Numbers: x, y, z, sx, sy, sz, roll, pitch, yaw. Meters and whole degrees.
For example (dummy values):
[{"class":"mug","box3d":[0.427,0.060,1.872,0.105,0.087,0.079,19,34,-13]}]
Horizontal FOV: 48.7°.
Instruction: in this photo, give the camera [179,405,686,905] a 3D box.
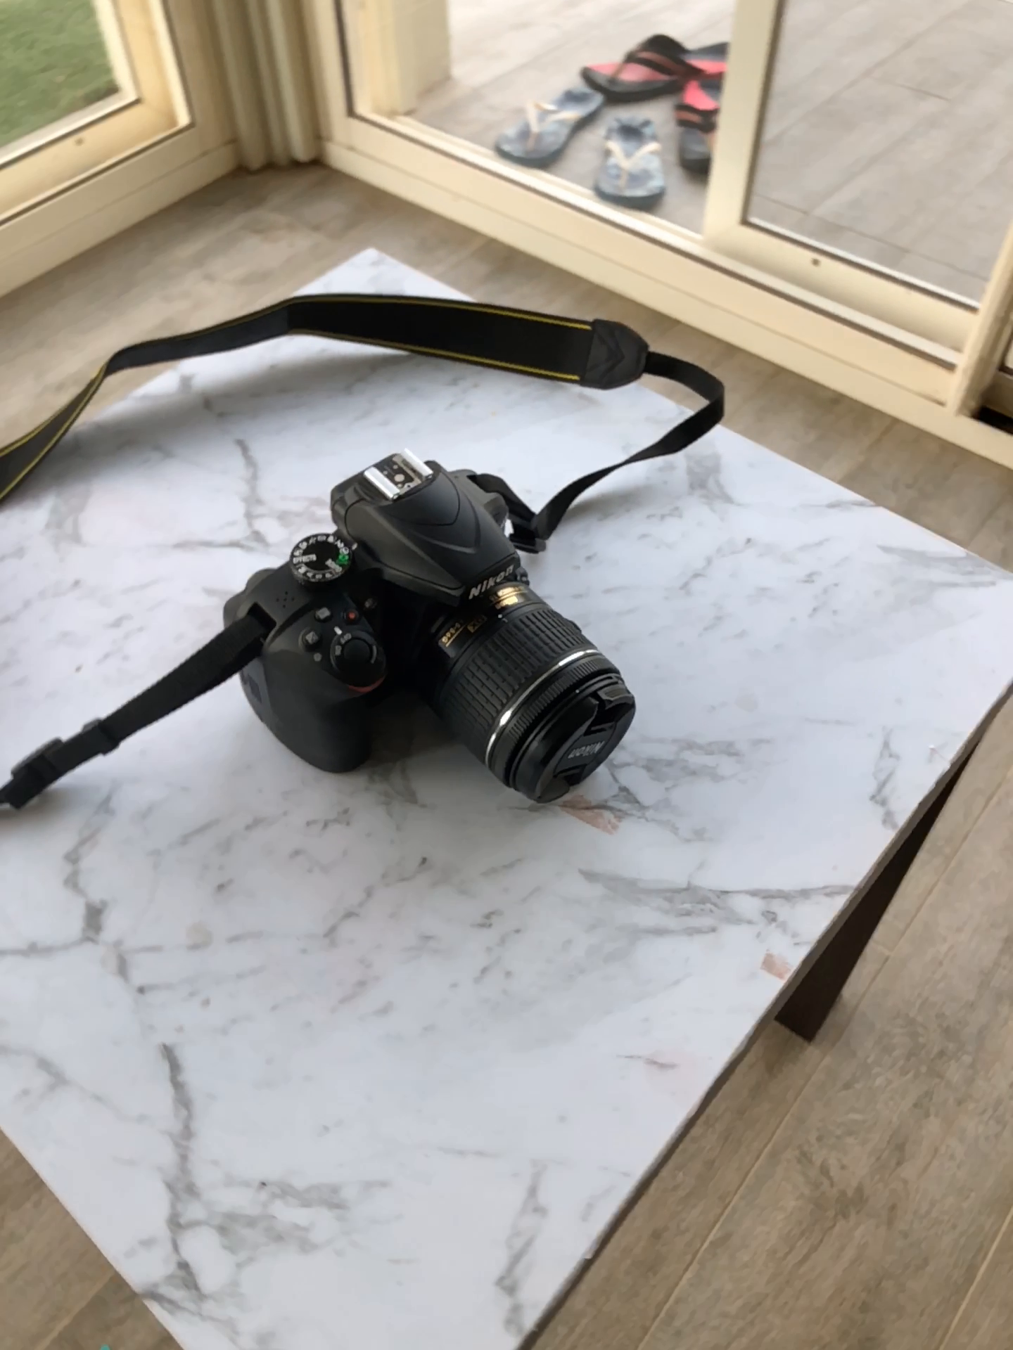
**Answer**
[{"class":"camera","box3d":[-0.028,-0.013,0.432,0.122,0.076,0.138,-36,62,-24]}]
